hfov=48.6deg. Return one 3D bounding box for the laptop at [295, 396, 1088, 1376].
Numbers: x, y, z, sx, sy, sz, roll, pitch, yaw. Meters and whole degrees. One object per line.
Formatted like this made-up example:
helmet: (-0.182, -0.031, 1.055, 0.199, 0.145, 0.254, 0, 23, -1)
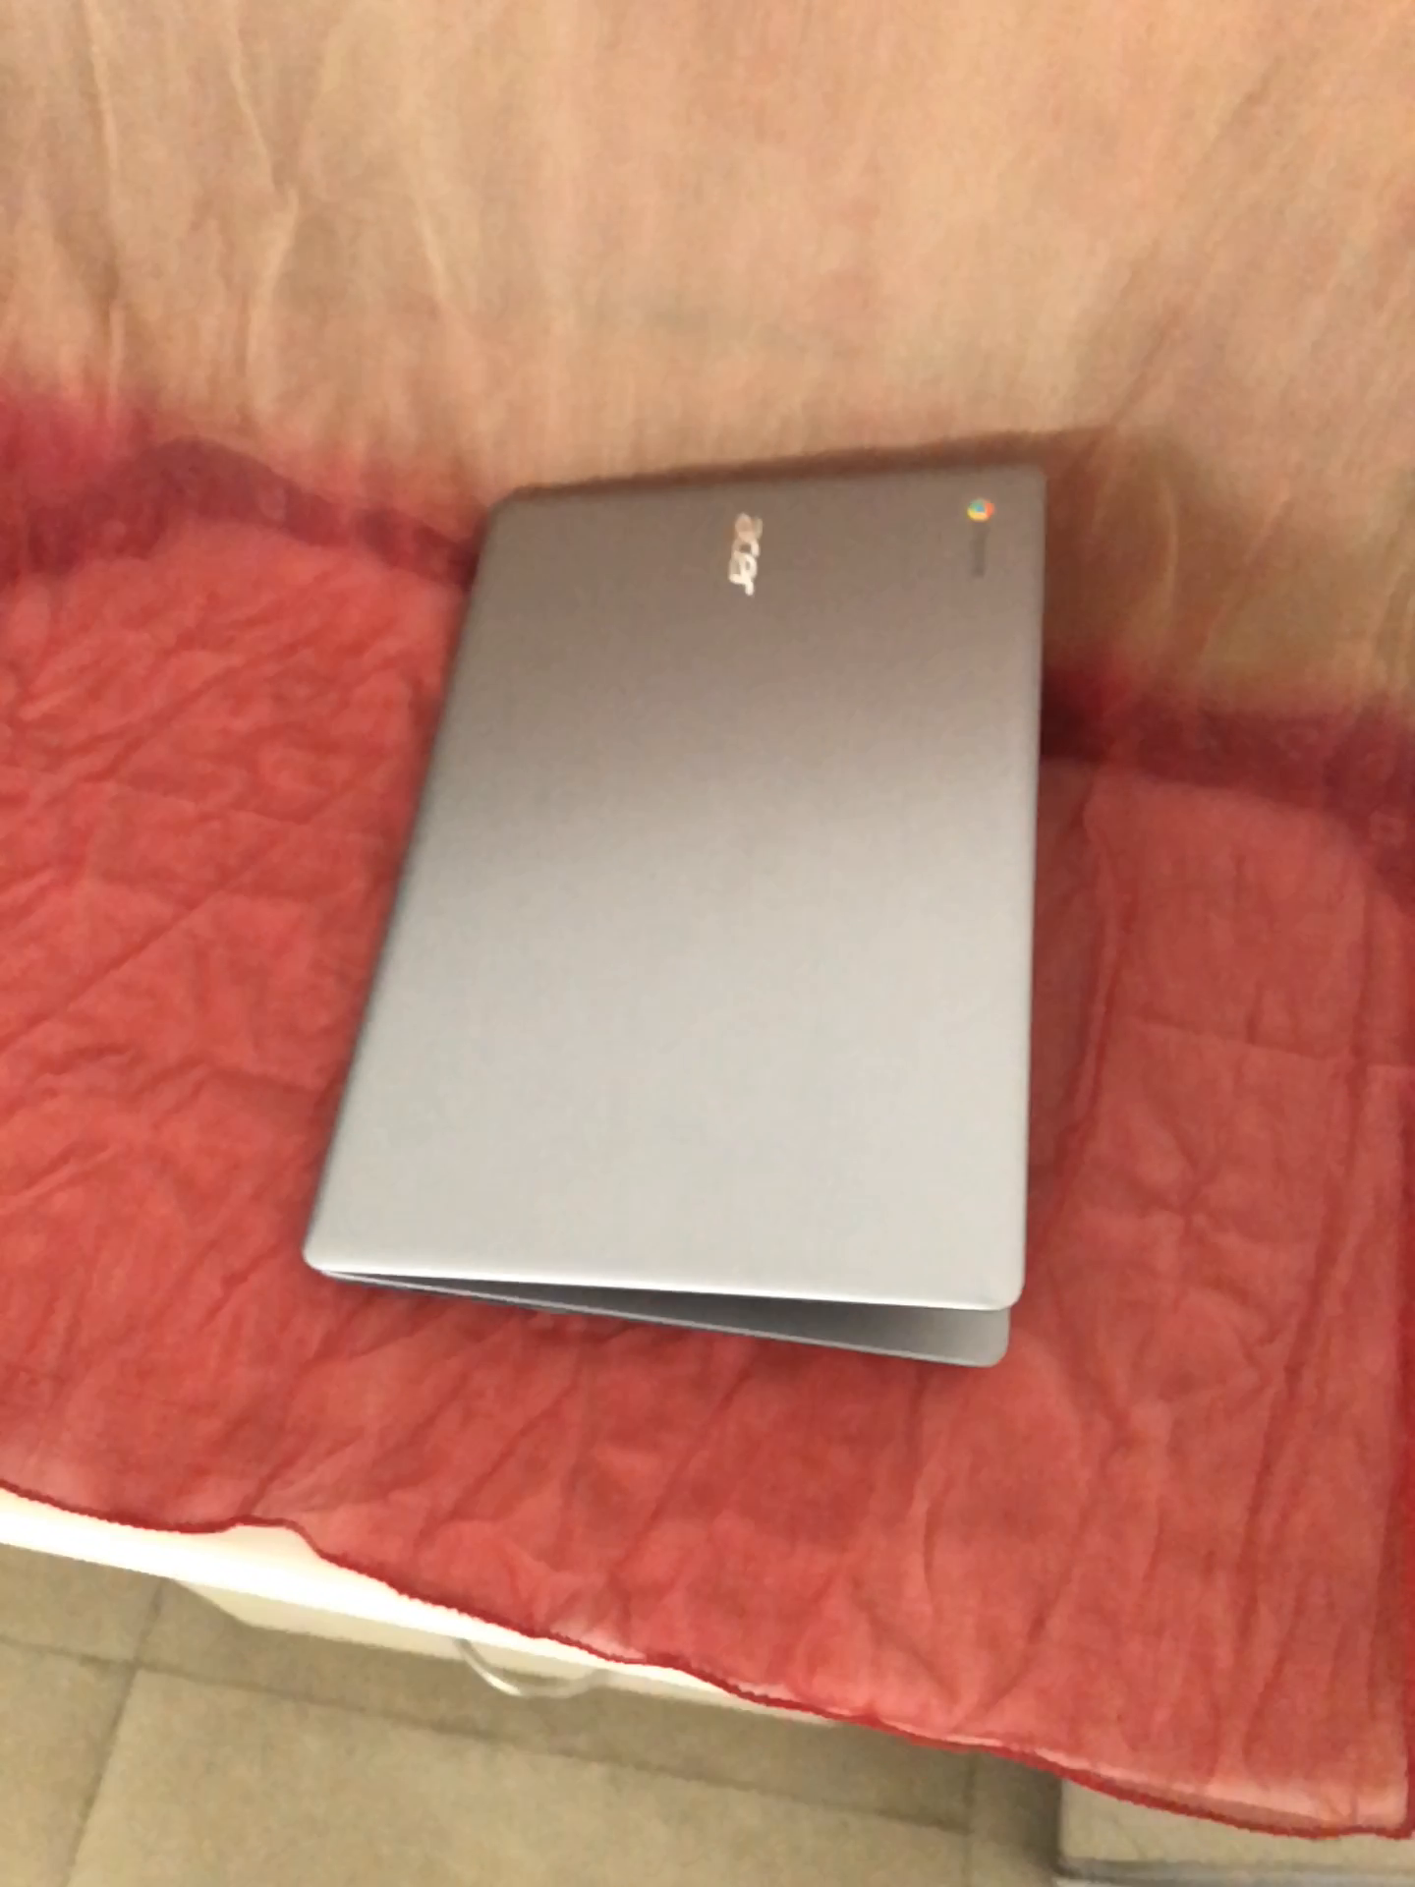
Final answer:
laptop: (0.011, -0.036, 0.540, 0.219, 0.066, 0.323, 7, 62, 3)
